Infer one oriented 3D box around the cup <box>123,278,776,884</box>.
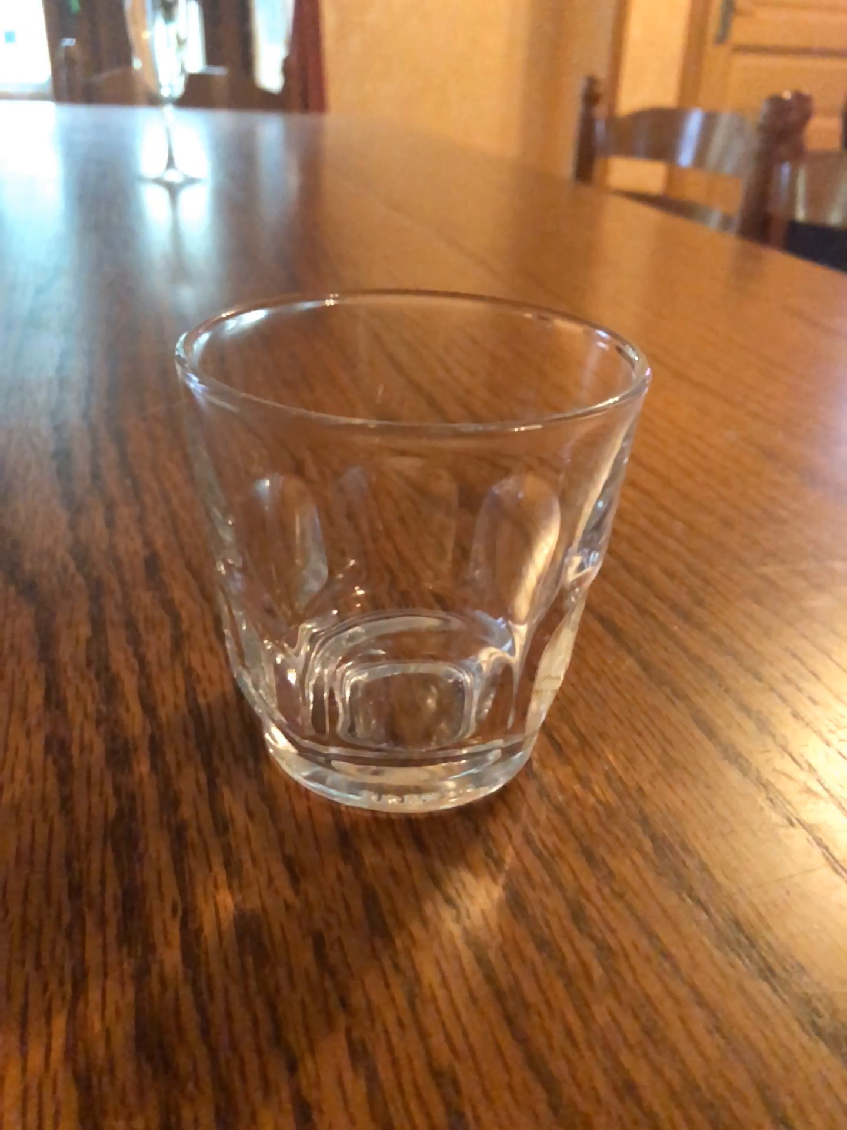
[{"bbox_3d":[-0.002,-0.008,0.177,0.083,0.069,0.082,2,28,-1],"label":"cup"}]
